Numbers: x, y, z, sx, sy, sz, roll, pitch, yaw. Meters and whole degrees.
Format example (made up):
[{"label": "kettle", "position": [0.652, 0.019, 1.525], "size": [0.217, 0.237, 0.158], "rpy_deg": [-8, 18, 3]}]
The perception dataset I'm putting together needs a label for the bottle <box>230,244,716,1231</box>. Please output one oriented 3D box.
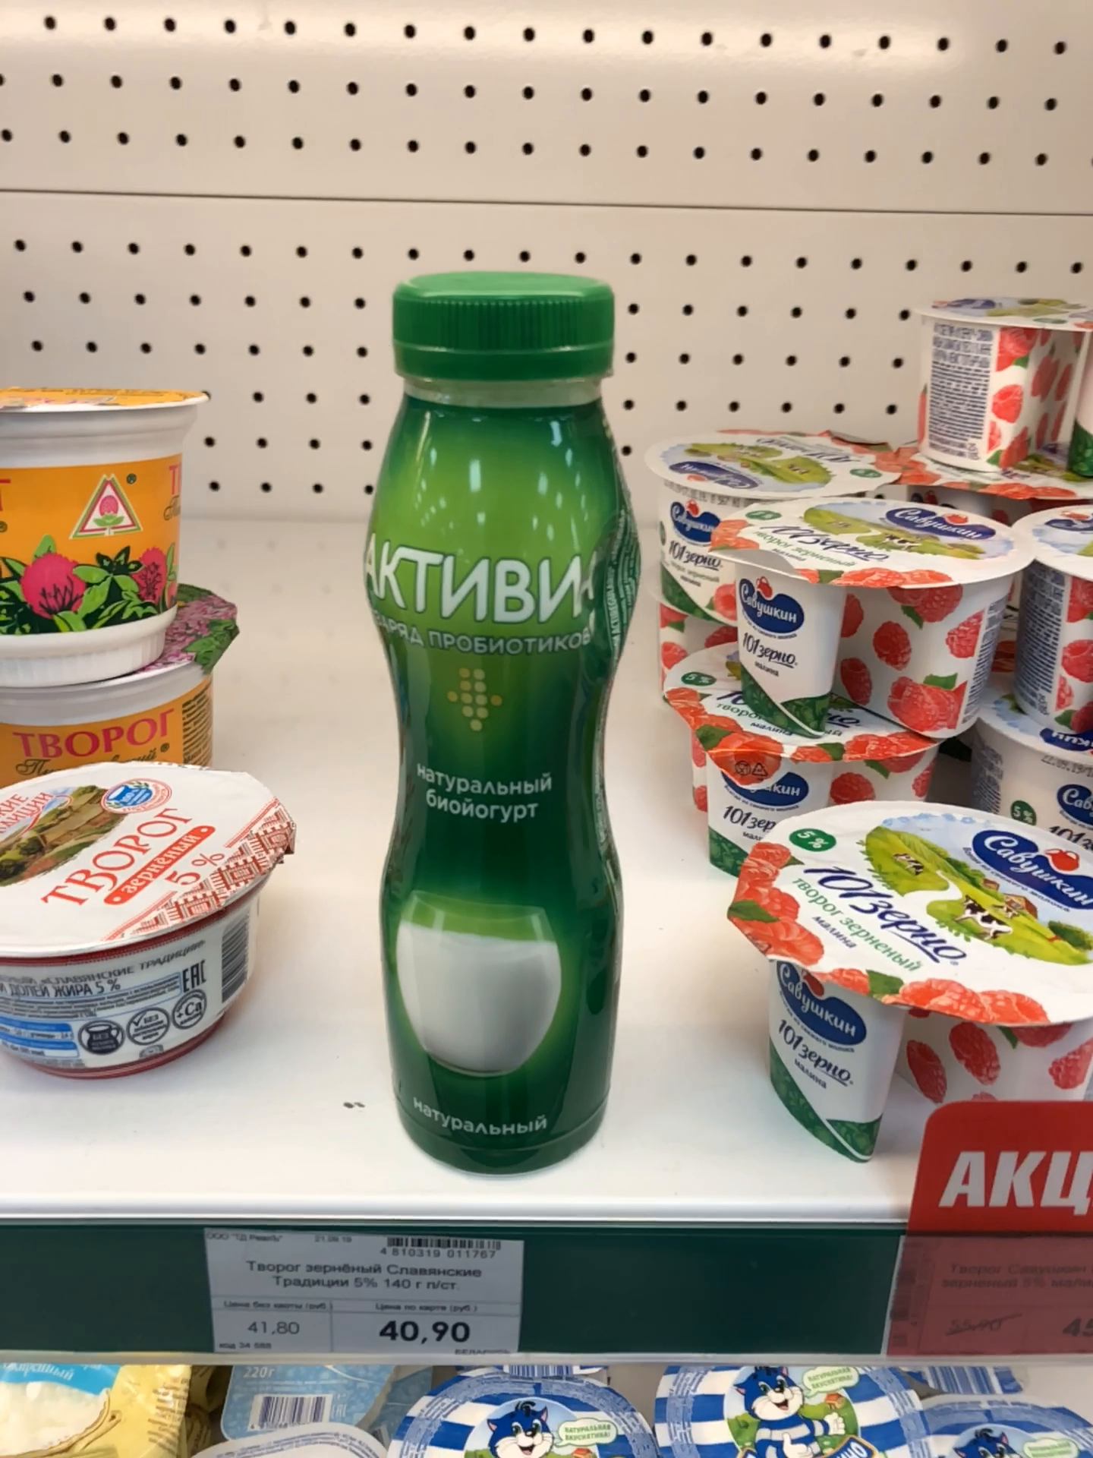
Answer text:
[{"label": "bottle", "position": [-0.010, 0.004, 0.250], "size": [0.070, 0.189, 0.060], "rpy_deg": [7, 26, 12]}]
